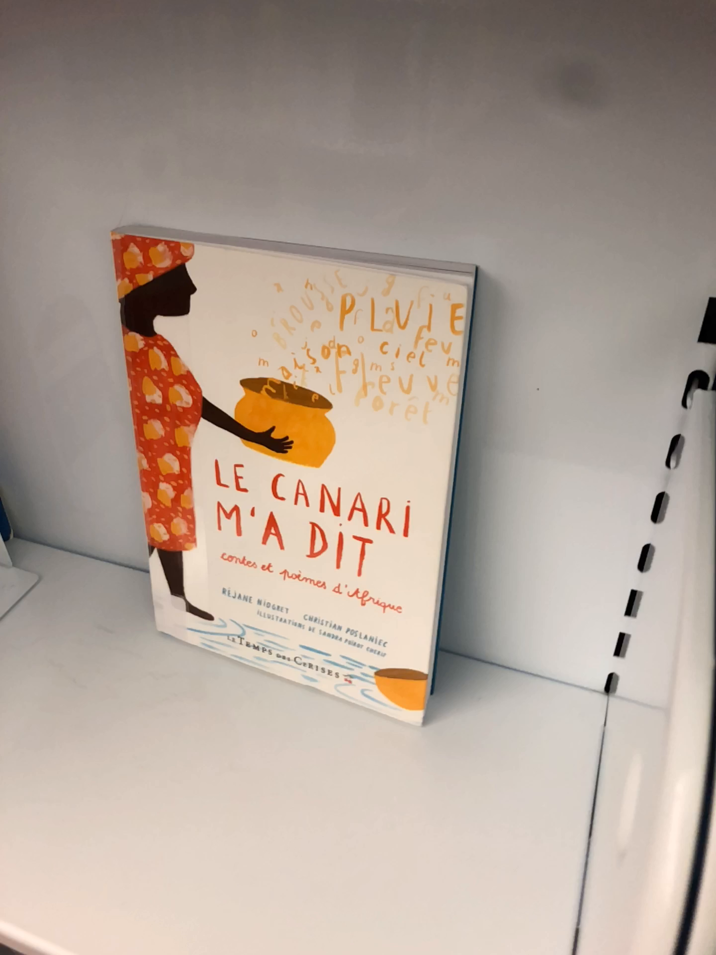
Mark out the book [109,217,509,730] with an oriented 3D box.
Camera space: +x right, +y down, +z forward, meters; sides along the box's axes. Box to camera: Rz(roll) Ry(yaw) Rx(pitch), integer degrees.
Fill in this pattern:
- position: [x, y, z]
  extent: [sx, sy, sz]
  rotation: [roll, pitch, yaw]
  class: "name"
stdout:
- position: [-0.025, 0.001, 0.346]
  extent: [0.149, 0.199, 0.037]
  rotation: [14, 31, 19]
  class: "book"
